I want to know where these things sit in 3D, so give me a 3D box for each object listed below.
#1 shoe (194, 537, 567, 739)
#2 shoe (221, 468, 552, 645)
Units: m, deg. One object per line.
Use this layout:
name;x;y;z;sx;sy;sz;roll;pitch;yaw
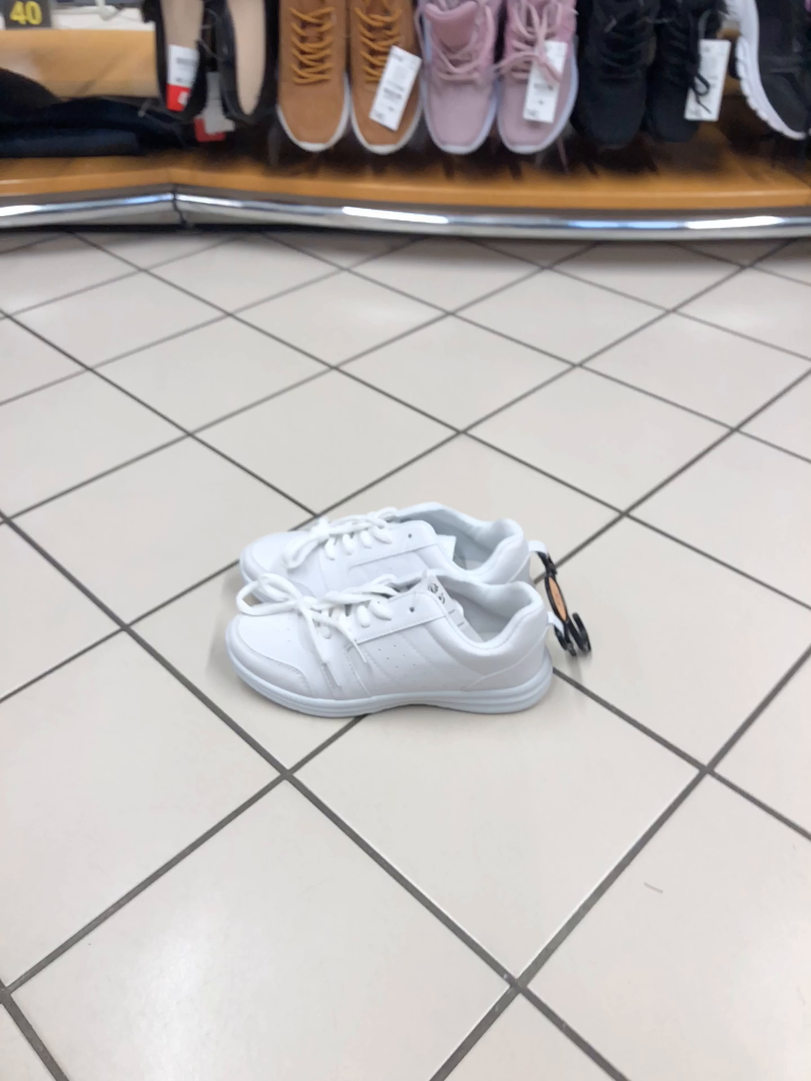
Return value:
shoe;-0.013;0.068;0.635;0.240;0.089;0.091;3;39;4
shoe;-0.011;0.011;0.708;0.240;0.089;0.091;3;39;4
